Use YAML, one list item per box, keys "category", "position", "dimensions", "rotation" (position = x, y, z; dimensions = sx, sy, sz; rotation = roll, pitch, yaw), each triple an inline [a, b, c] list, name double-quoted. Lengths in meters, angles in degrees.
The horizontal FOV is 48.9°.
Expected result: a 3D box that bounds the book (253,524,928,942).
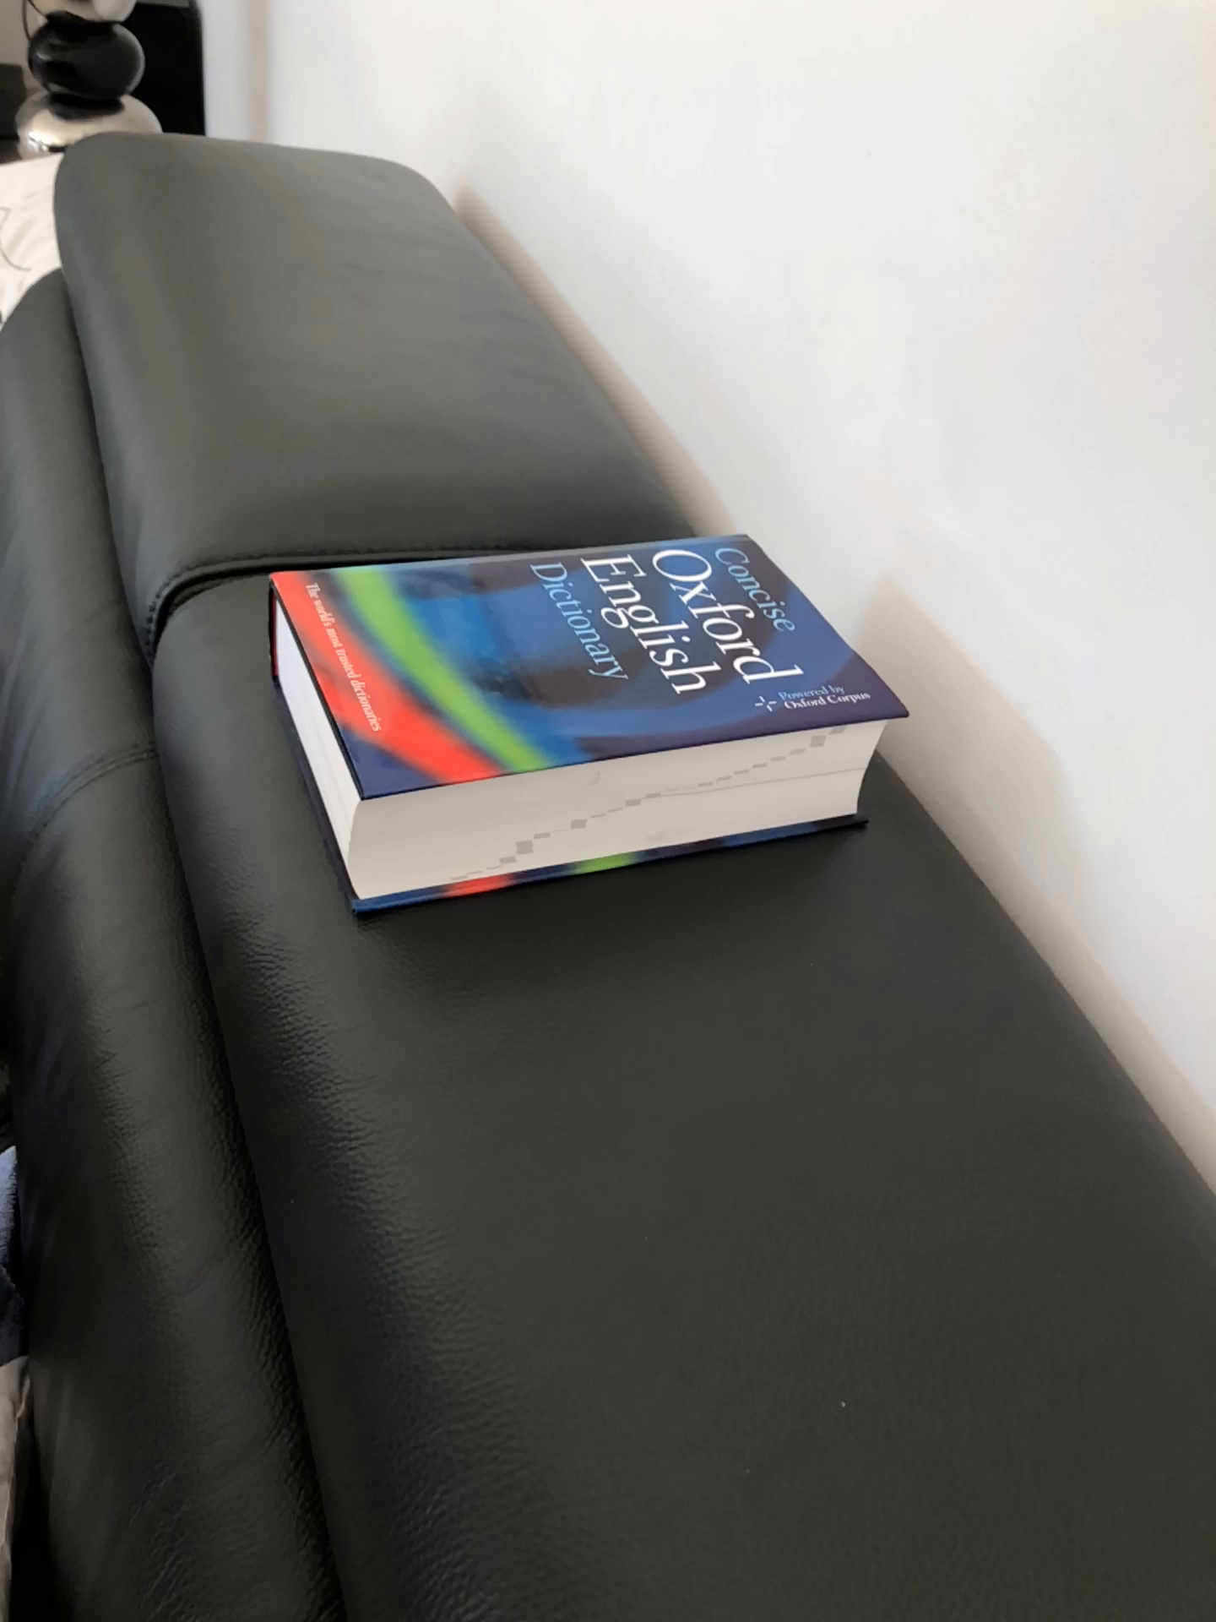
- category: "book"
  position: [-0.015, -0.048, 0.602]
  dimensions: [0.251, 0.070, 0.171]
  rotation: [-9, 44, -23]
